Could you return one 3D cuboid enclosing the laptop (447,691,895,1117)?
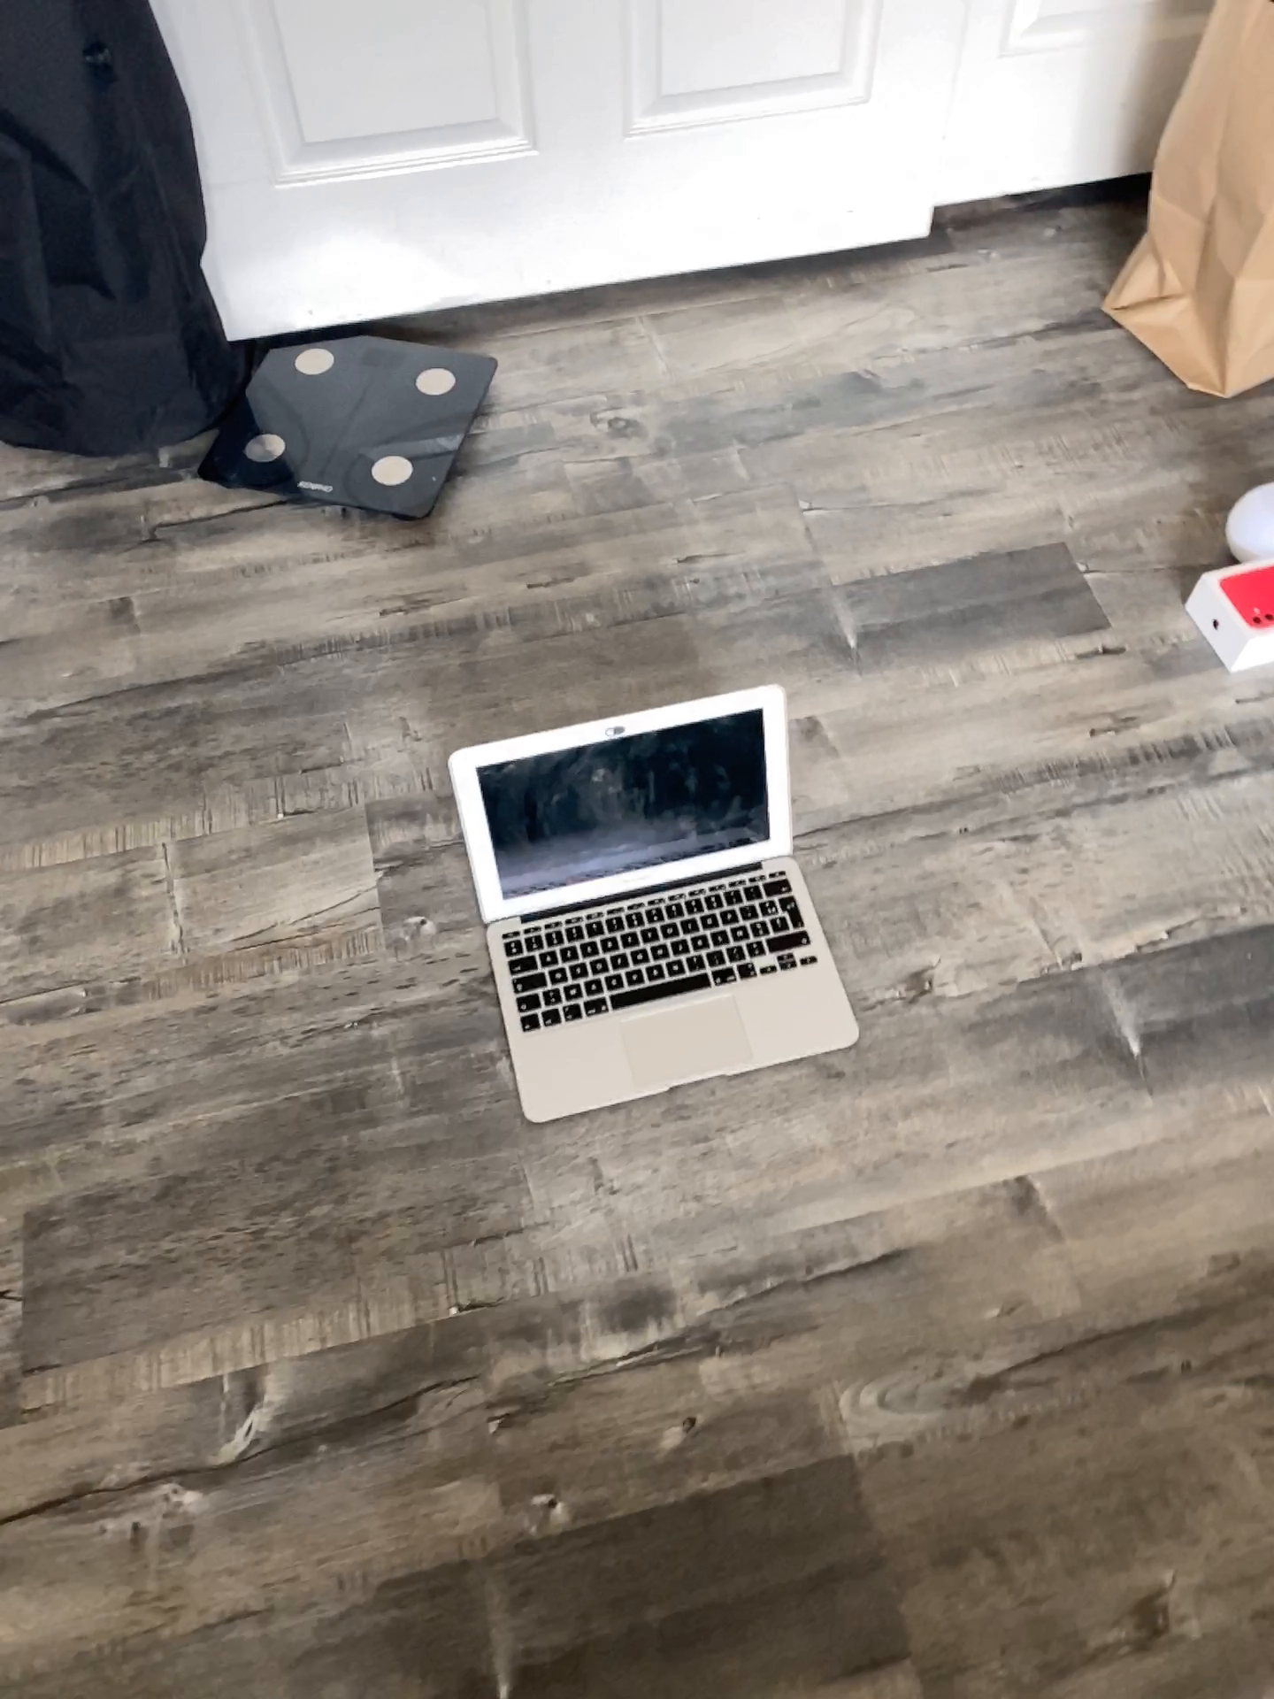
[{"bbox_3d":[0.017,0.041,1.072,0.290,0.159,0.255,-12,56,-8],"label":"laptop"}]
